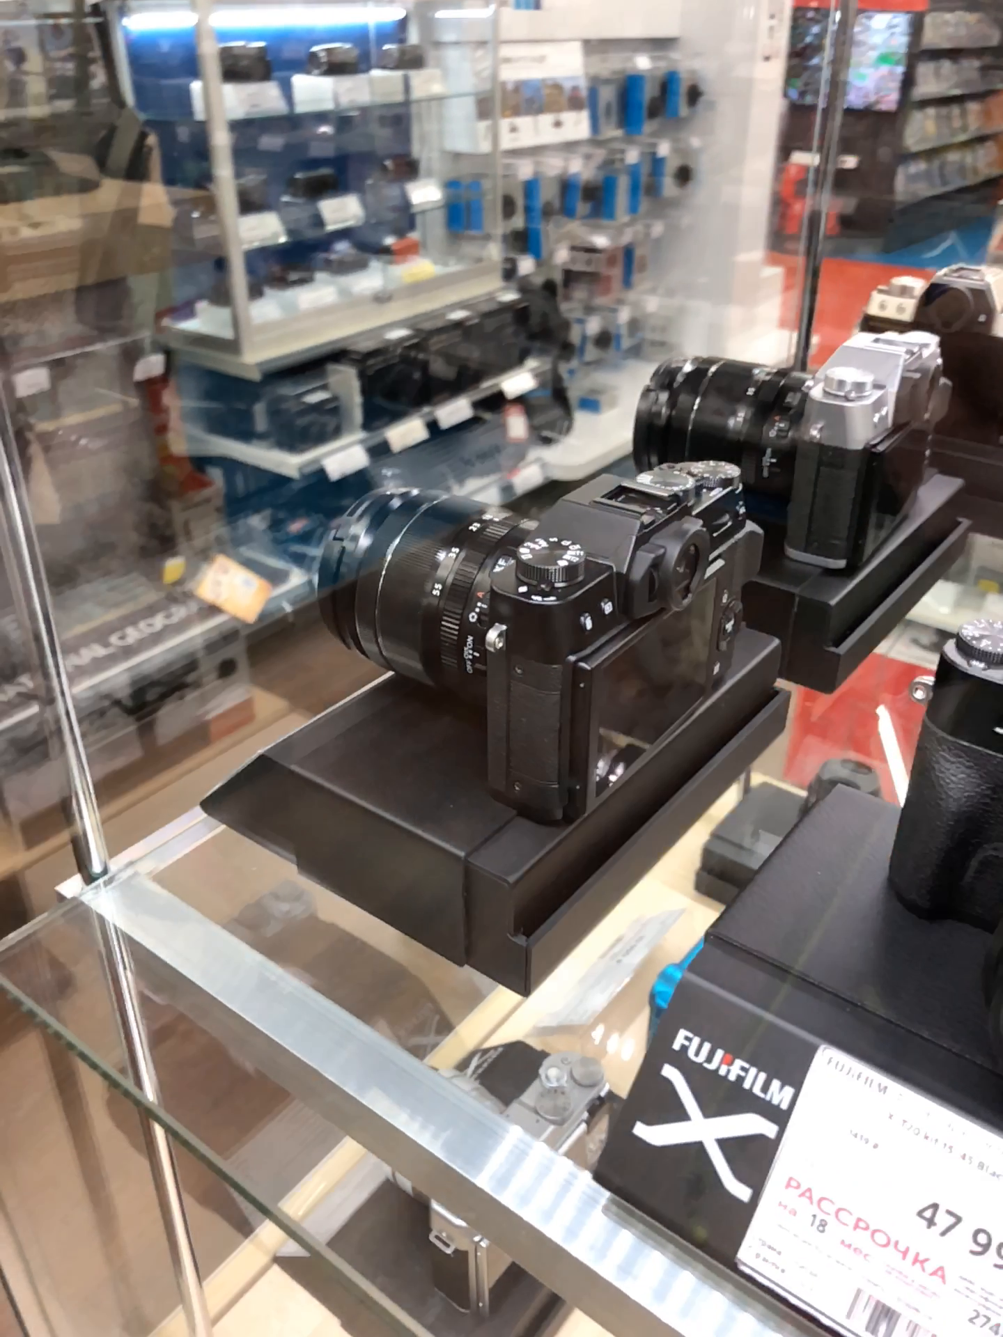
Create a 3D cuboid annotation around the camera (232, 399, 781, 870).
[{"bbox_3d":[0.004,-0.022,0.363,0.121,0.081,0.121,21,36,31],"label":"camera"}]
